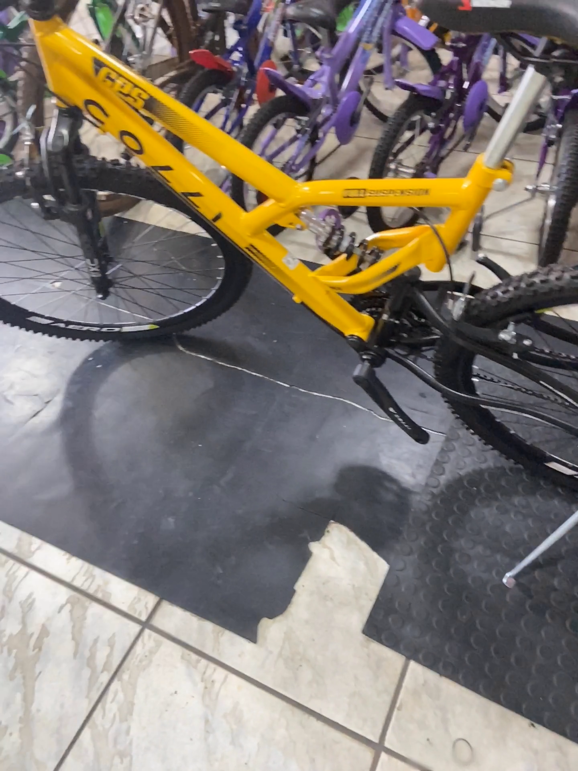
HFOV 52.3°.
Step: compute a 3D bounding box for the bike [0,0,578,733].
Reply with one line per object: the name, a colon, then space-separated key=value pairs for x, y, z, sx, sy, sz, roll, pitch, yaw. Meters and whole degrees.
bike: x=0.033 y=-0.210 z=0.768 sx=1.521 sy=0.987 sz=0.477 roll=14 pitch=52 yaw=15
